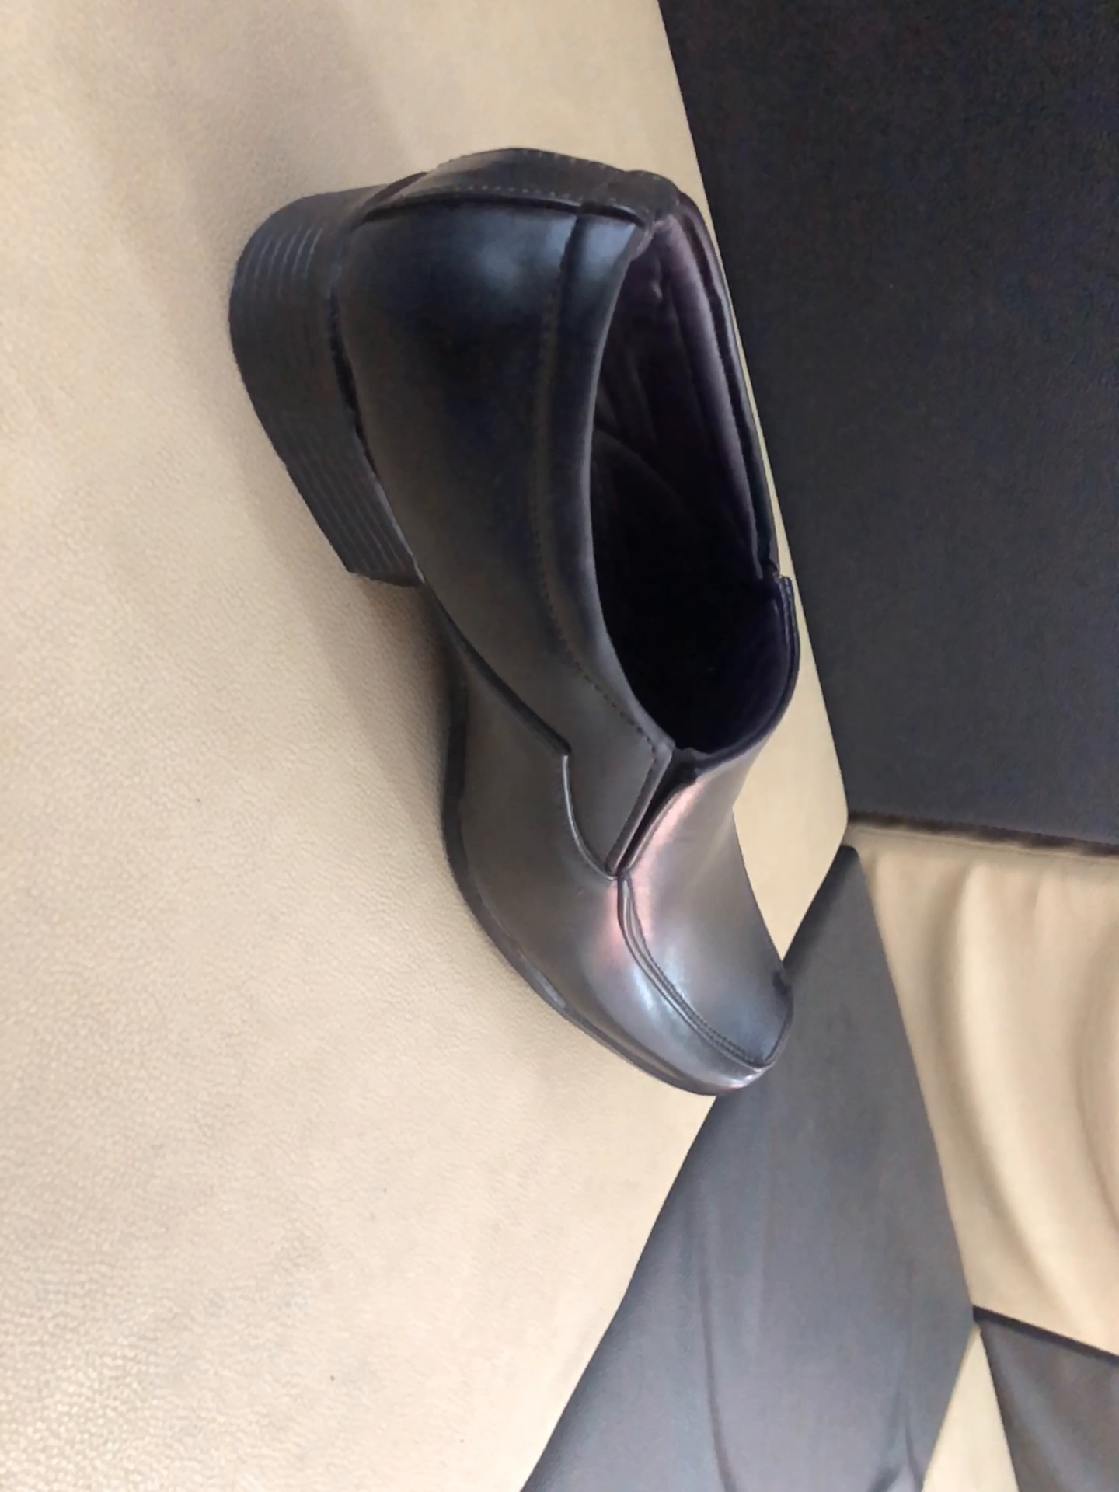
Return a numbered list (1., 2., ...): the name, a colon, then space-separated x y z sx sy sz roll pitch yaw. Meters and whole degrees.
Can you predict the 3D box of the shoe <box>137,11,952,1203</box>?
1. shoe: 0.024 -0.013 0.334 0.100 0.089 0.291 -54 135 -36
